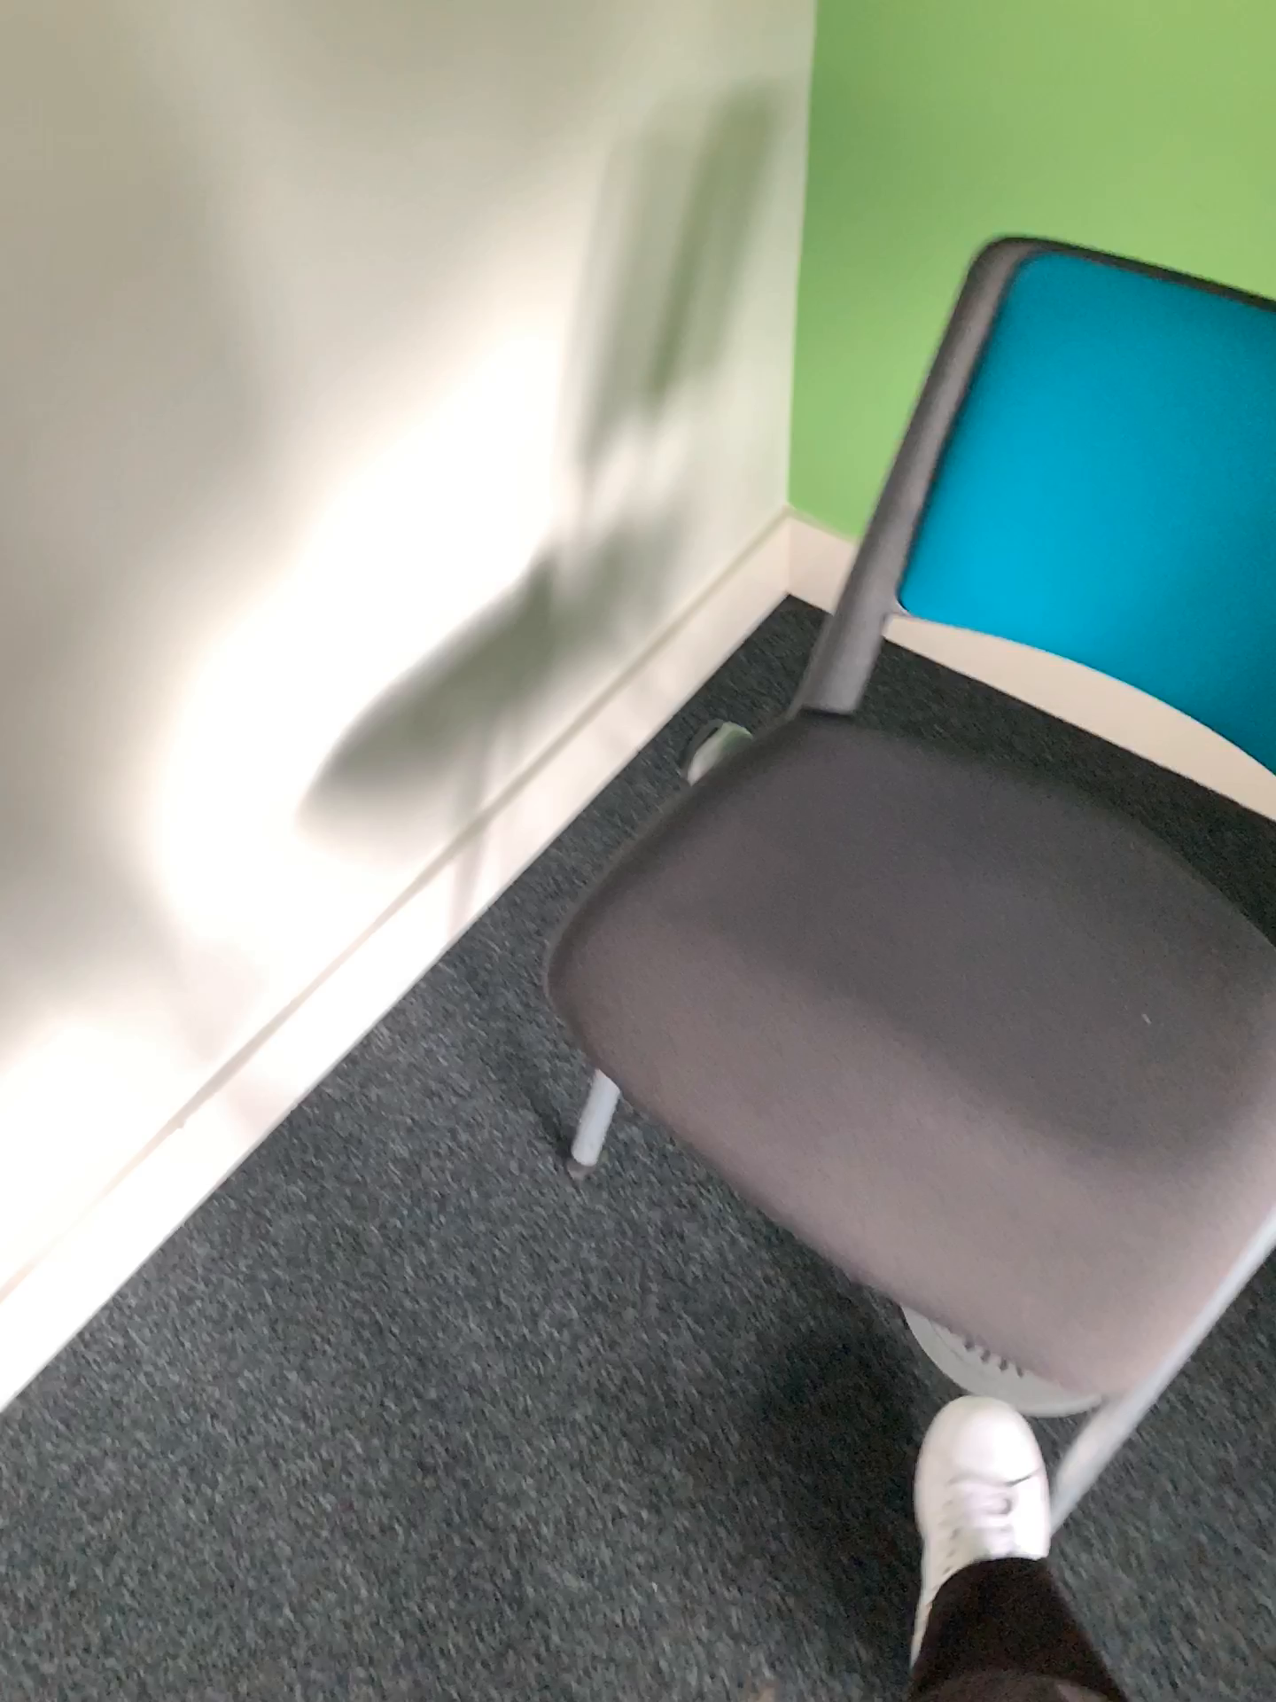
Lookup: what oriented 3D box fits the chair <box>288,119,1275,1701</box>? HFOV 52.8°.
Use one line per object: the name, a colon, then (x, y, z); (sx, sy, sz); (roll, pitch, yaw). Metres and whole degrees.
chair: (0.262, 0.063, 0.828); (0.582, 0.665, 0.552); (31, 62, 23)
